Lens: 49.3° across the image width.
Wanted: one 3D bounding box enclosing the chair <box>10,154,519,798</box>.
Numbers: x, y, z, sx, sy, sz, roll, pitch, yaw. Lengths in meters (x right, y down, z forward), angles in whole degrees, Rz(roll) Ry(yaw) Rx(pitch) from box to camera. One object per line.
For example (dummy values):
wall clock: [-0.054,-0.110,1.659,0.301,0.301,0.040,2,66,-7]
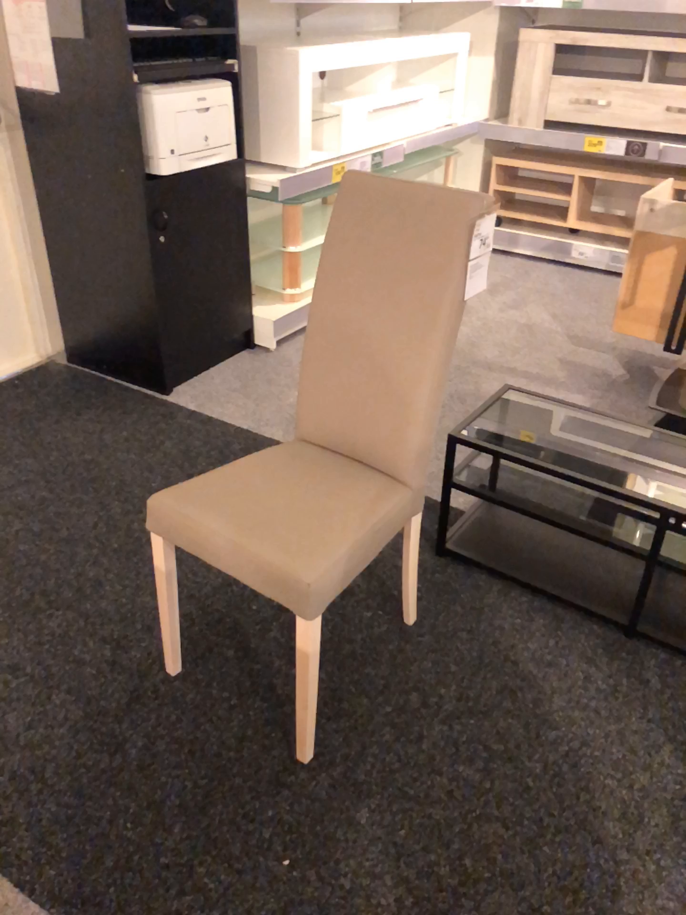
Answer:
chair: [-0.109,-0.012,1.448,0.530,0.944,0.634,22,37,30]
